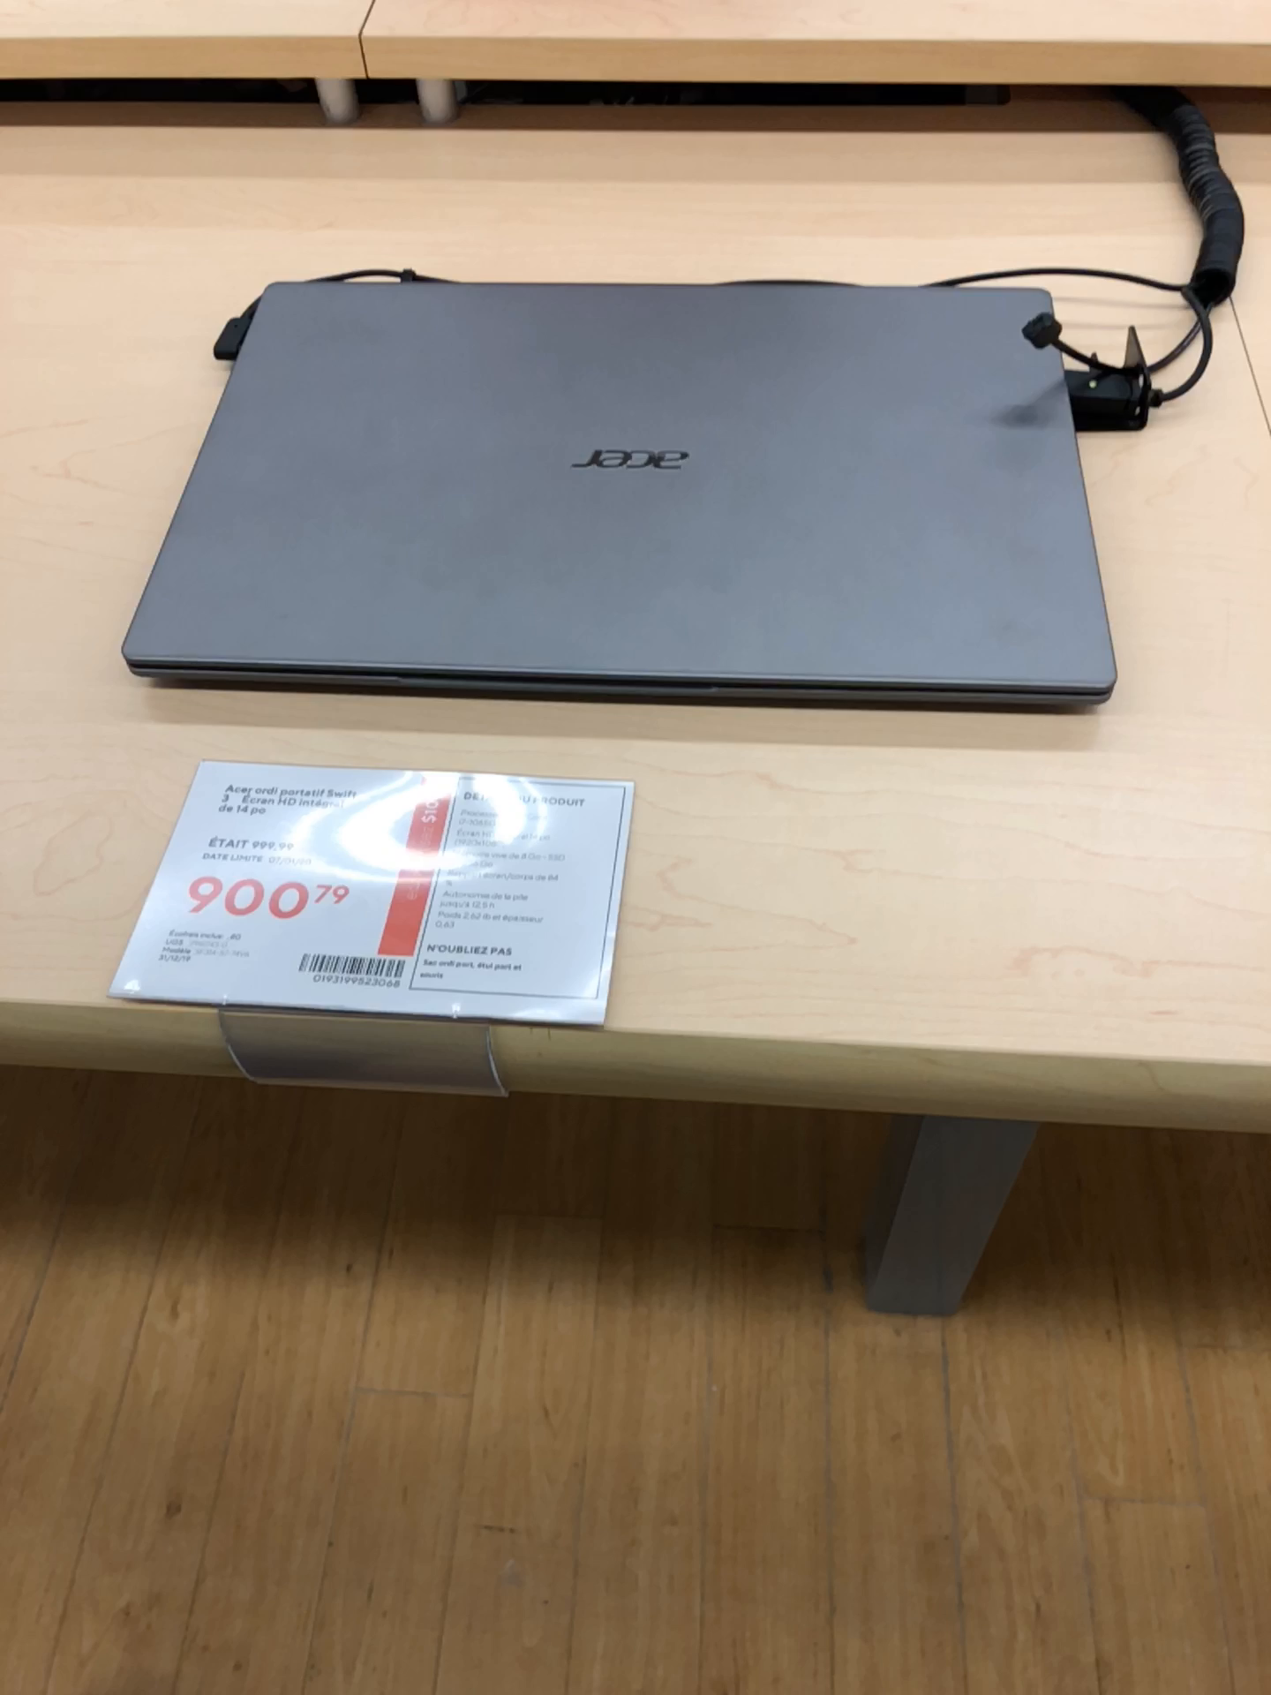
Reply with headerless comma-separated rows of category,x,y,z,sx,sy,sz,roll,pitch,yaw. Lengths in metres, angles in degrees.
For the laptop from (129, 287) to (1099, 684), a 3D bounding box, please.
laptop,-0.003,-0.139,0.500,0.306,0.001,0.201,3,54,4
